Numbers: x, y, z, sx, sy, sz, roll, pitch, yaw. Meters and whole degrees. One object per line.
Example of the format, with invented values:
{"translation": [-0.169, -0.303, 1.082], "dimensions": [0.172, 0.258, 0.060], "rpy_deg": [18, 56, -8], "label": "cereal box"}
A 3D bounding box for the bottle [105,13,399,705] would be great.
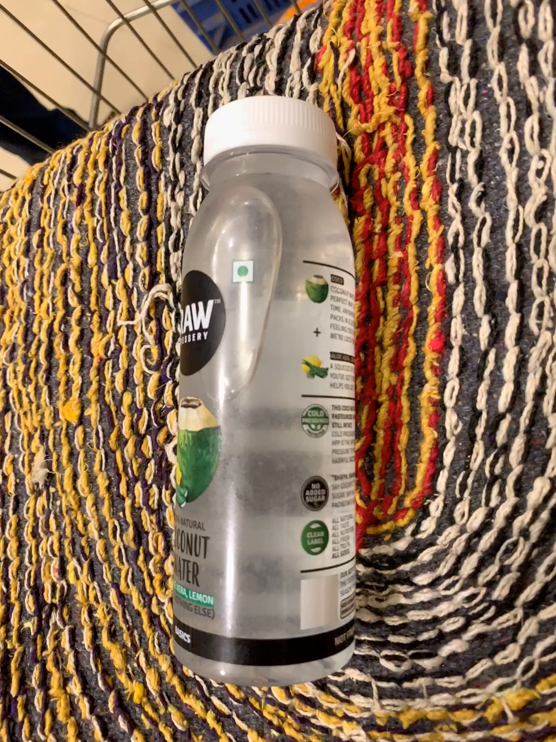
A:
{"translation": [-0.007, -0.003, 0.163], "dimensions": [0.060, 0.050, 0.150], "rpy_deg": [-5, 80, 49], "label": "bottle"}
